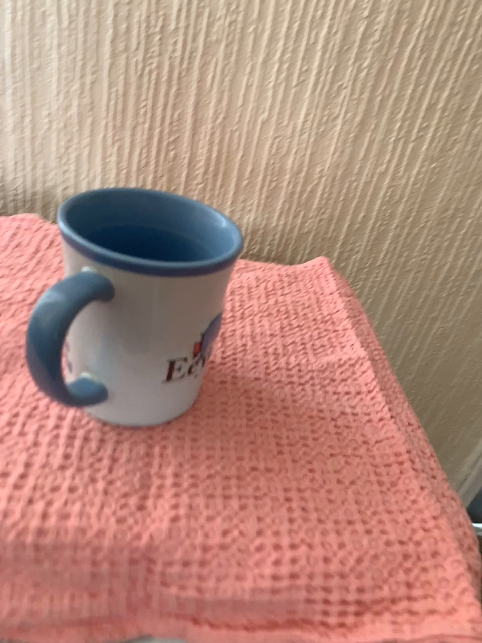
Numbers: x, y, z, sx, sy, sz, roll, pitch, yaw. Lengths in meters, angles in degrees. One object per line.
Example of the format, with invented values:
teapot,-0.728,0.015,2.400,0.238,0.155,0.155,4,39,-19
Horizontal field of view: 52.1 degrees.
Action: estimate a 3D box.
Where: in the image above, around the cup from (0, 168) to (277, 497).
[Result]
cup,-0.054,-0.005,0.246,0.090,0.099,0.111,23,32,14
